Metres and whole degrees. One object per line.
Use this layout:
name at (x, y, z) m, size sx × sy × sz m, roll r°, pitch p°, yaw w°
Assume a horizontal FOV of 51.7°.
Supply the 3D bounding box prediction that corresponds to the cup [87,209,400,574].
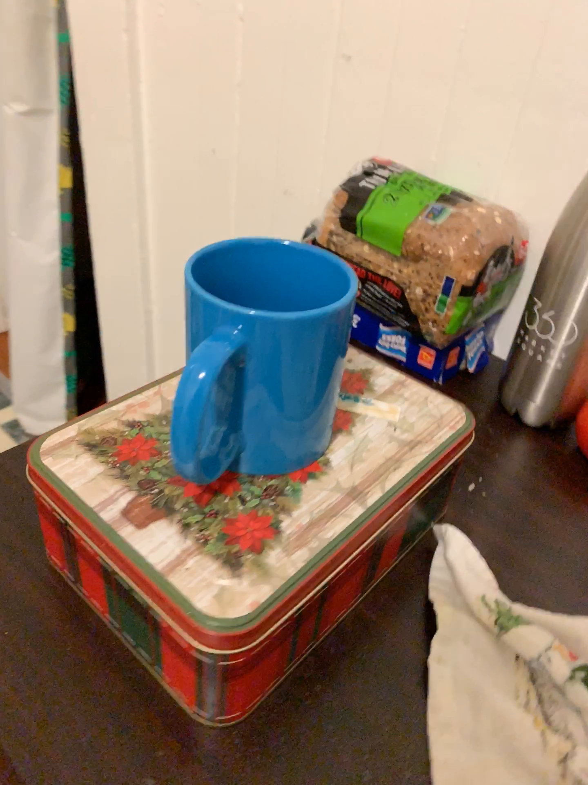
cup at (-0.016, -0.010, 0.289) m, size 0.090 × 0.099 × 0.131 m, roll 16°, pitch 37°, yaw 12°
